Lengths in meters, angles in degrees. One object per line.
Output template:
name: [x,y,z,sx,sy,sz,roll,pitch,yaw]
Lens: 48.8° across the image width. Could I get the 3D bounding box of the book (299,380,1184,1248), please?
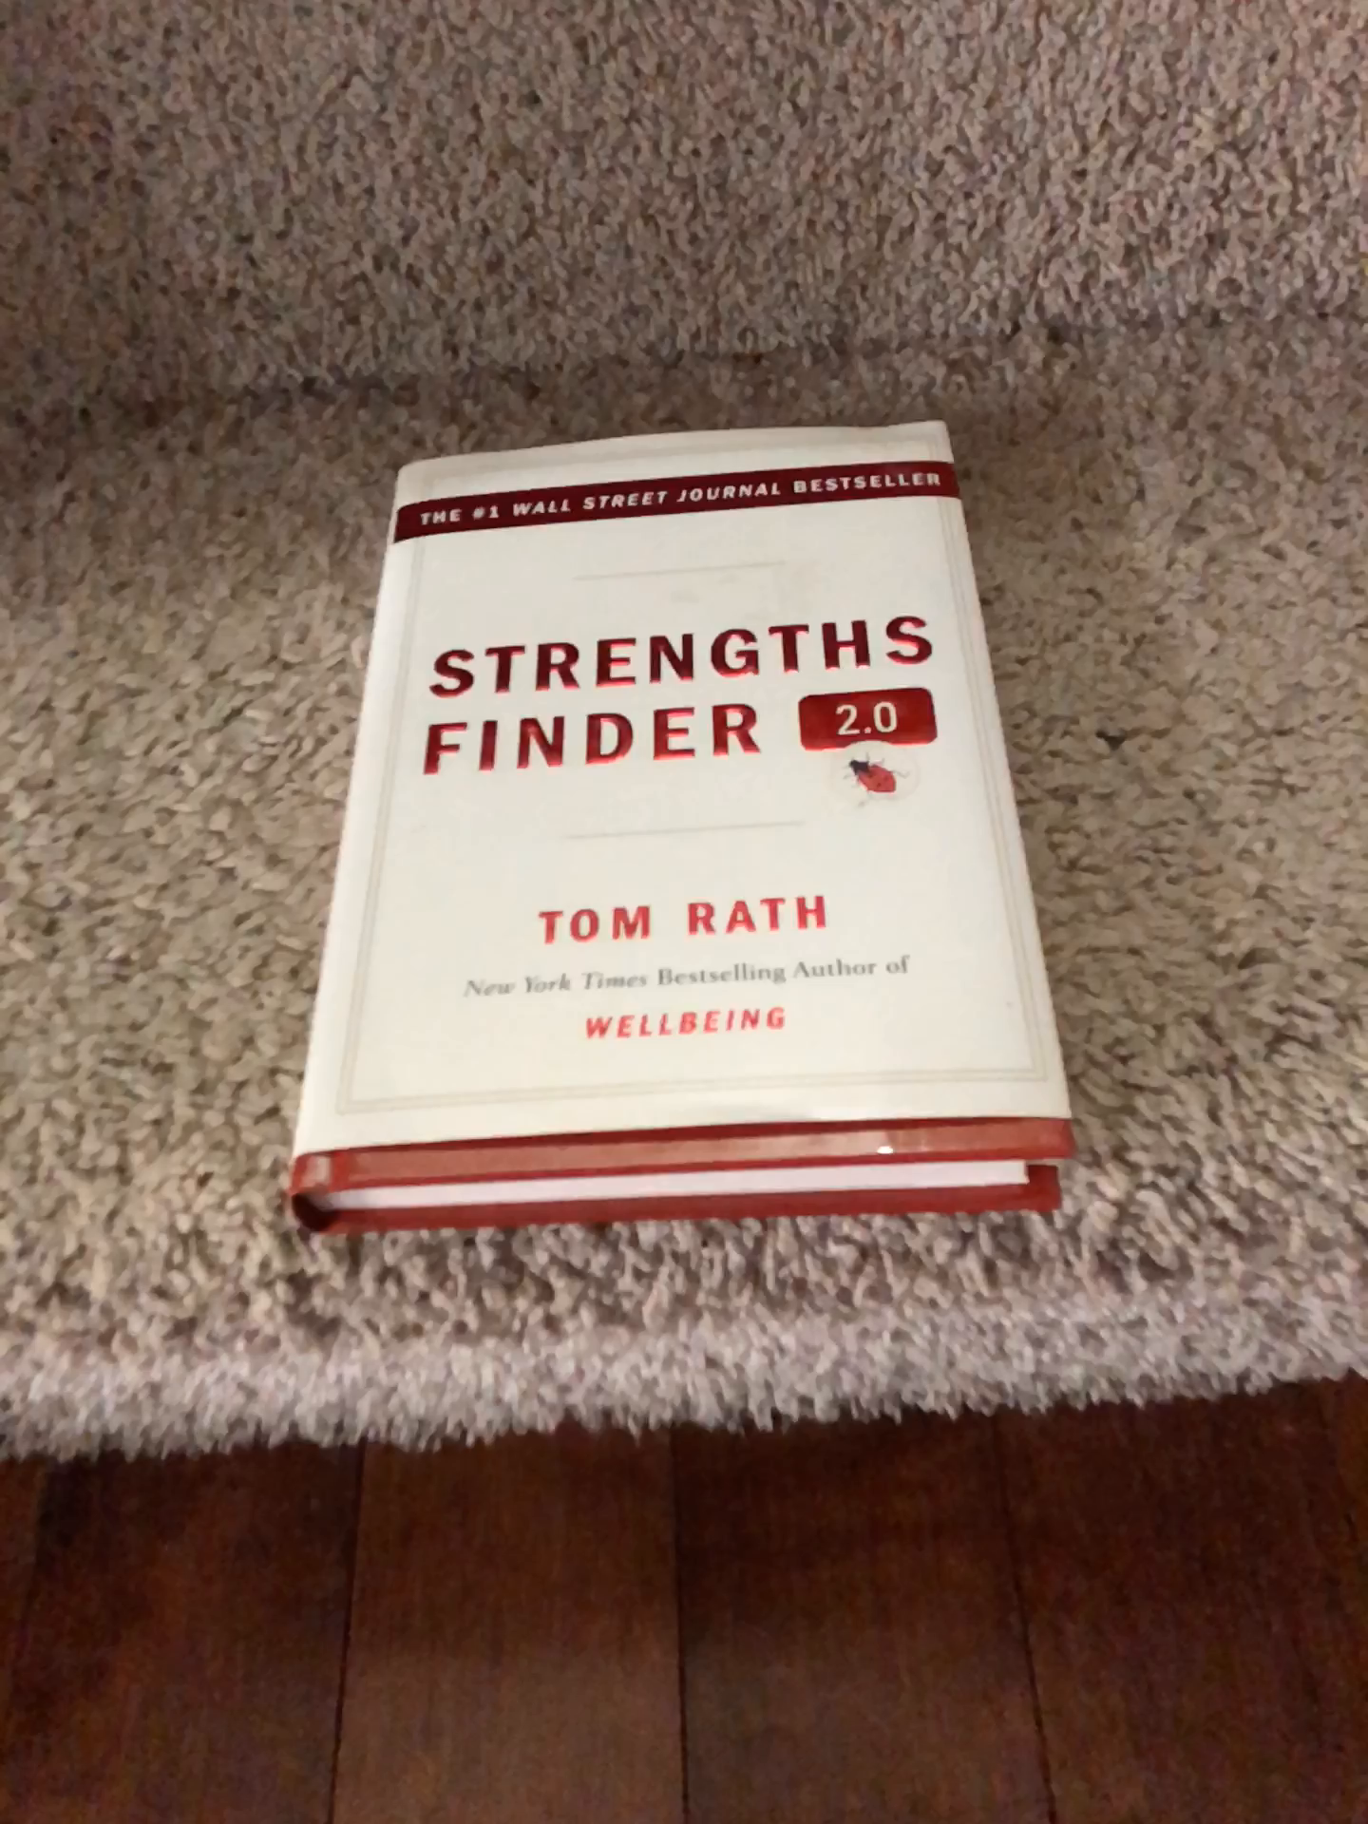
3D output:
book: [0.008,-0.031,0.299,0.136,0.029,0.191,-2,54,3]
